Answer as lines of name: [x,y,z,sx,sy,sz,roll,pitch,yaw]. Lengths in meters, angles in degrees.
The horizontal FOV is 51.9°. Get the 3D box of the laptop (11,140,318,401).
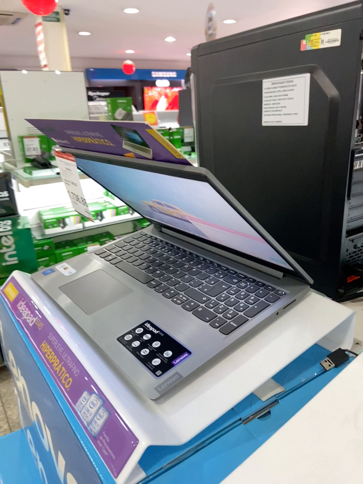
laptop: [-0.046,-0.021,0.513,0.244,0.161,0.357,-23,28,-32]
